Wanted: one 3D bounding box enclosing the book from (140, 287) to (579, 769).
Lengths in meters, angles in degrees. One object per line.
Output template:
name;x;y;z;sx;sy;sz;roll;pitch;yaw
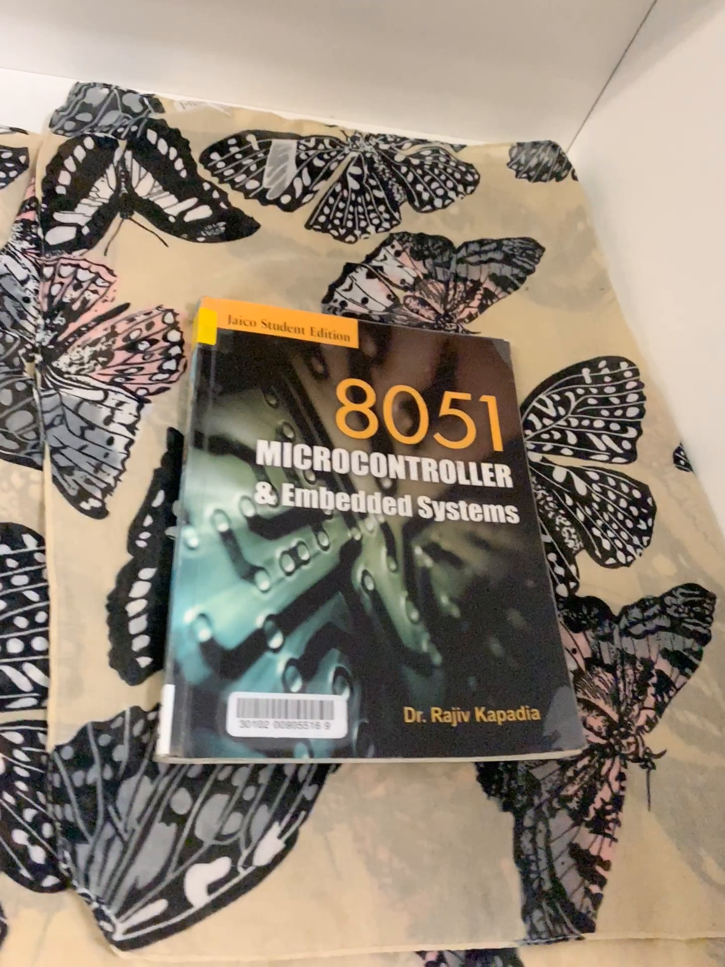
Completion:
book;-0.001;0.013;0.366;0.184;0.020;0.236;5;60;-14
